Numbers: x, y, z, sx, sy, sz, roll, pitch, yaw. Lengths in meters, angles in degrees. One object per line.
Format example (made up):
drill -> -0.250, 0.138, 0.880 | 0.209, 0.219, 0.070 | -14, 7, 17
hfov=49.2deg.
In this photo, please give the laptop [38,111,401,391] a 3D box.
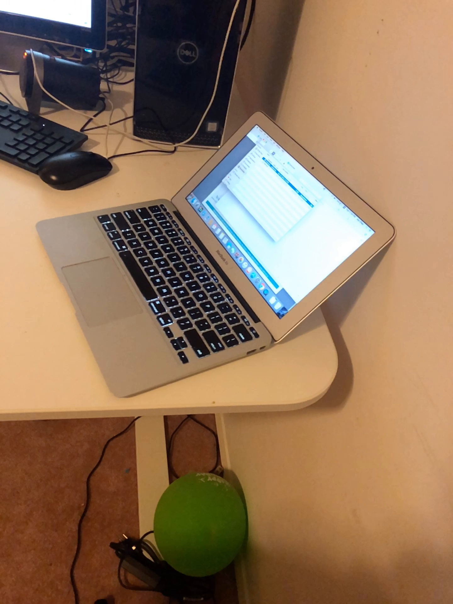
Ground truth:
laptop -> -0.027, -0.090, 0.584 | 0.305, 0.126, 0.281 | -16, 48, -24
